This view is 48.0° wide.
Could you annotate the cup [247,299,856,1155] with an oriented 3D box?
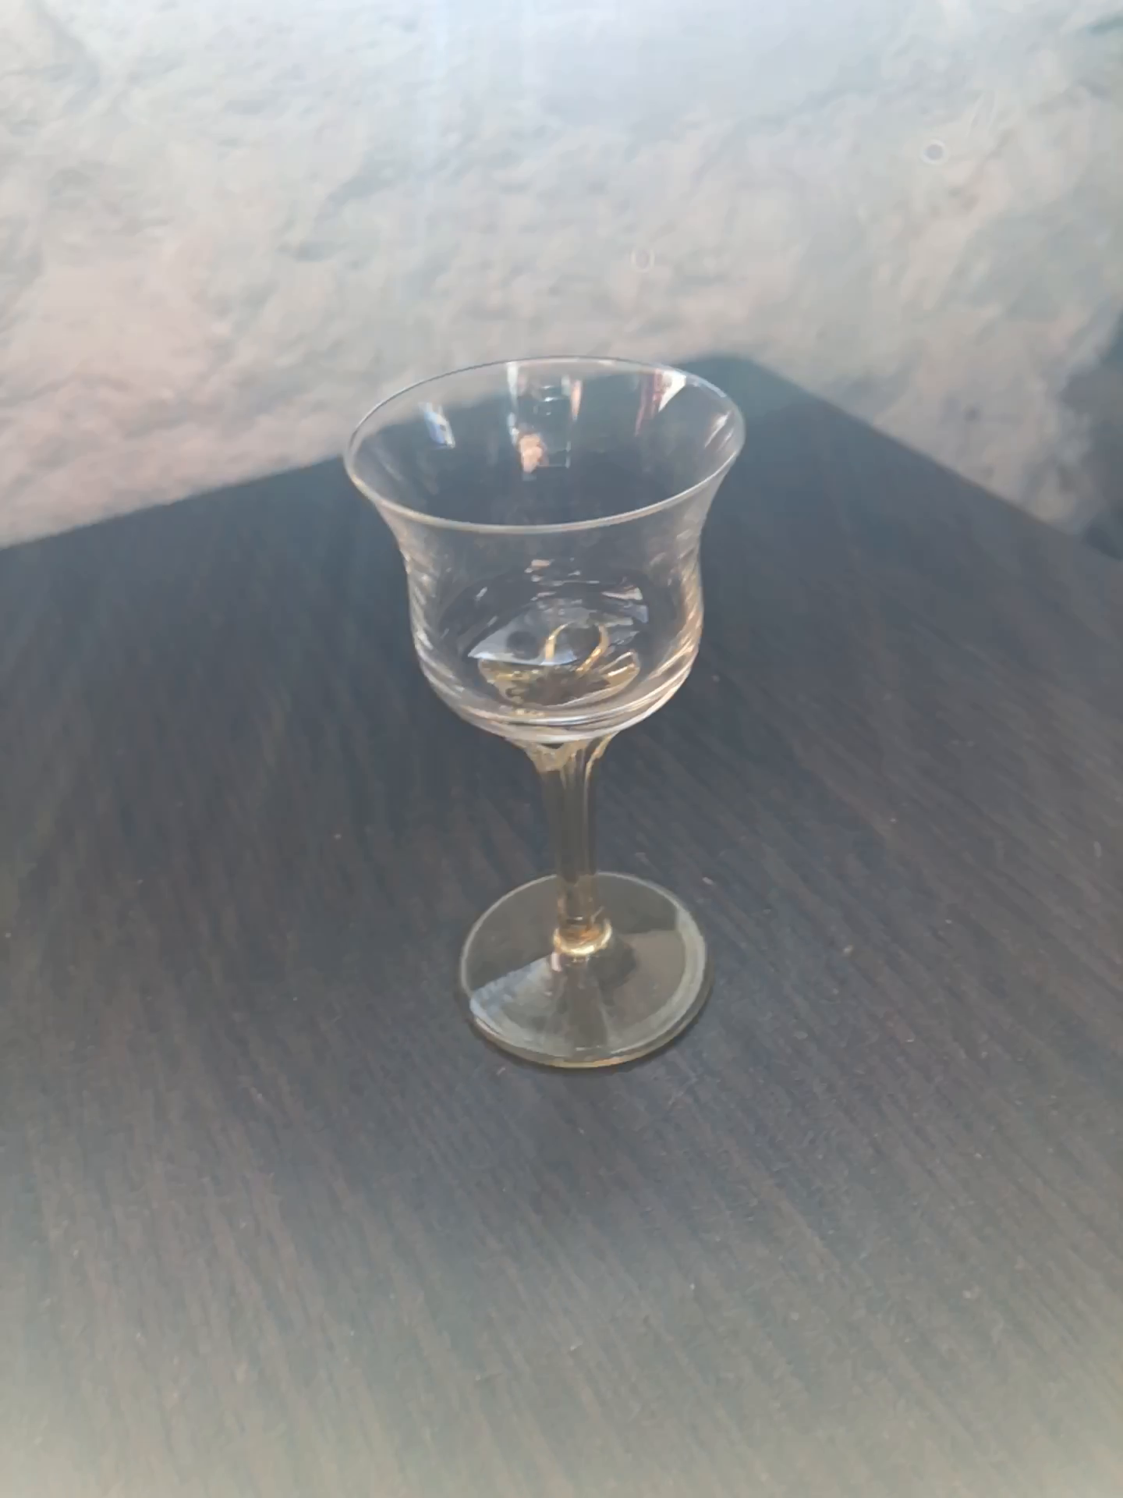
[{"bbox_3d":[-0.001,-0.004,0.178,0.051,0.093,0.059,-22,40,-21],"label":"cup"}]
